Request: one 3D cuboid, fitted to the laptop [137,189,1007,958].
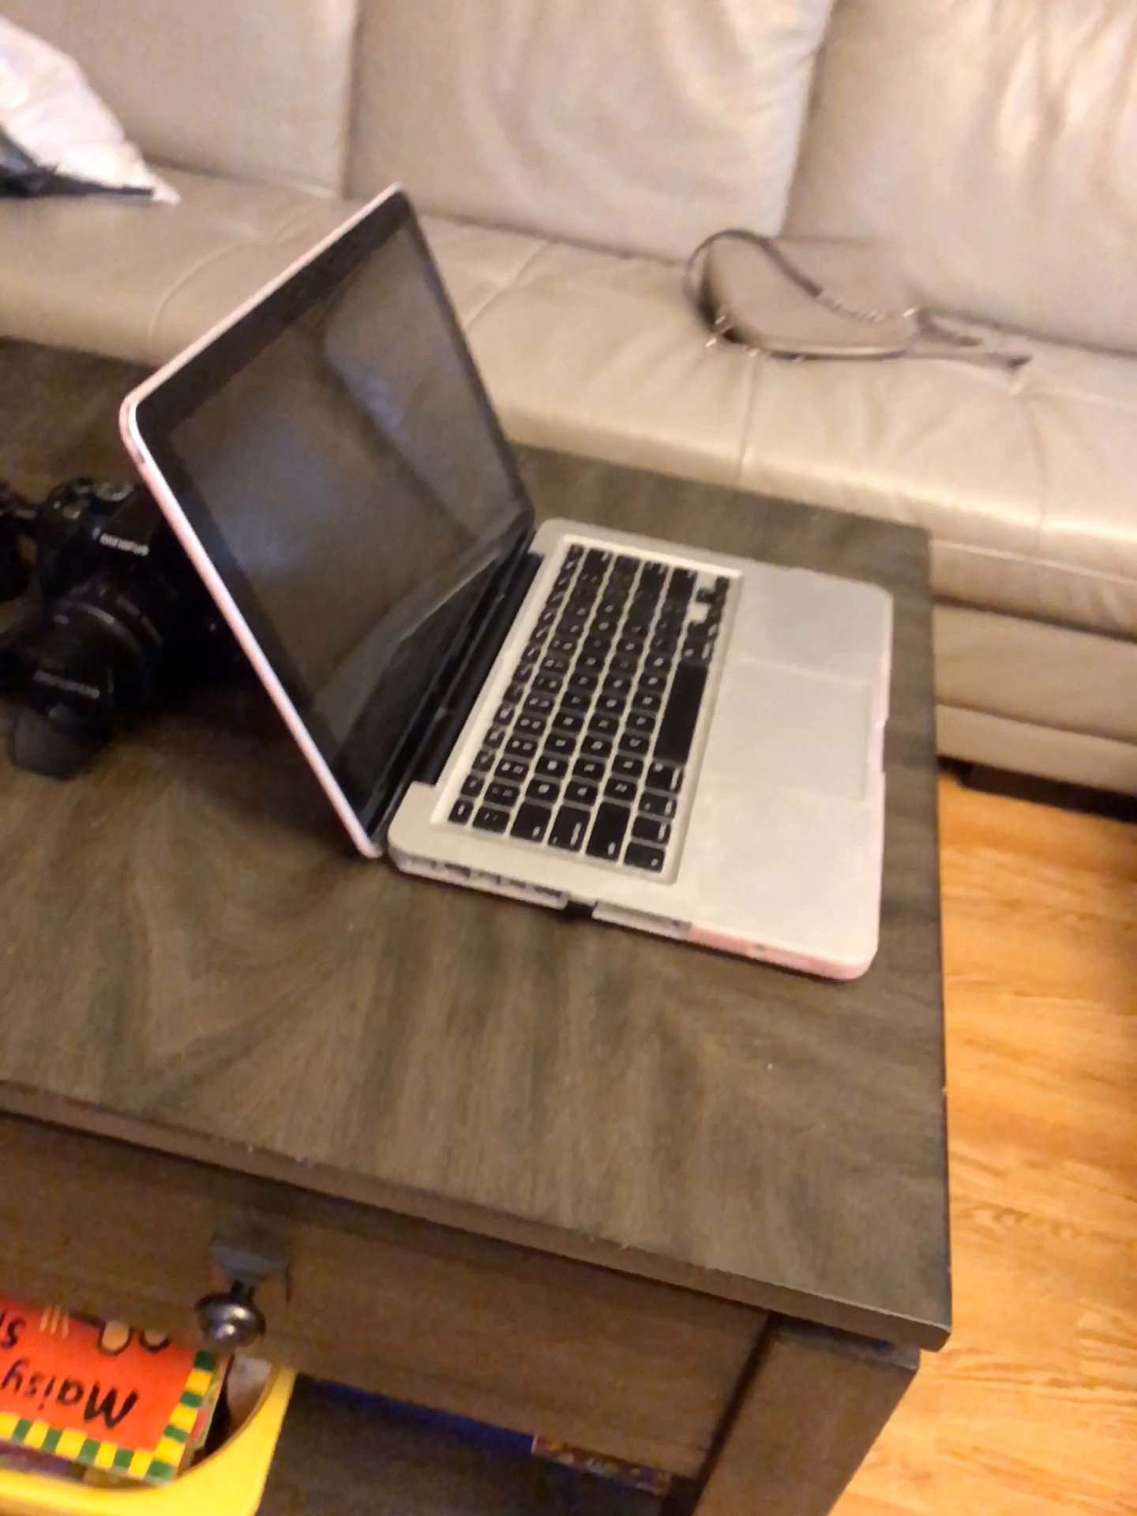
[{"bbox_3d":[0.018,-0.116,0.624,0.321,0.185,0.314,13,40,5],"label":"laptop"}]
